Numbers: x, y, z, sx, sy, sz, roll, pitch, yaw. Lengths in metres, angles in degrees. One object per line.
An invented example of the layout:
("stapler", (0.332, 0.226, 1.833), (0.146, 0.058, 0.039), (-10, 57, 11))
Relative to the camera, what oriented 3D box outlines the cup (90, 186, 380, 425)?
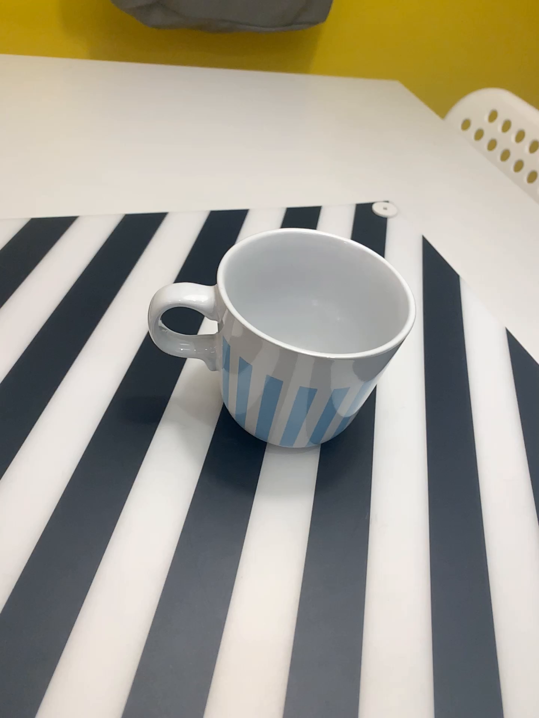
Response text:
("cup", (-0.020, -0.024, 0.263), (0.110, 0.070, 0.080), (3, 45, -10))
